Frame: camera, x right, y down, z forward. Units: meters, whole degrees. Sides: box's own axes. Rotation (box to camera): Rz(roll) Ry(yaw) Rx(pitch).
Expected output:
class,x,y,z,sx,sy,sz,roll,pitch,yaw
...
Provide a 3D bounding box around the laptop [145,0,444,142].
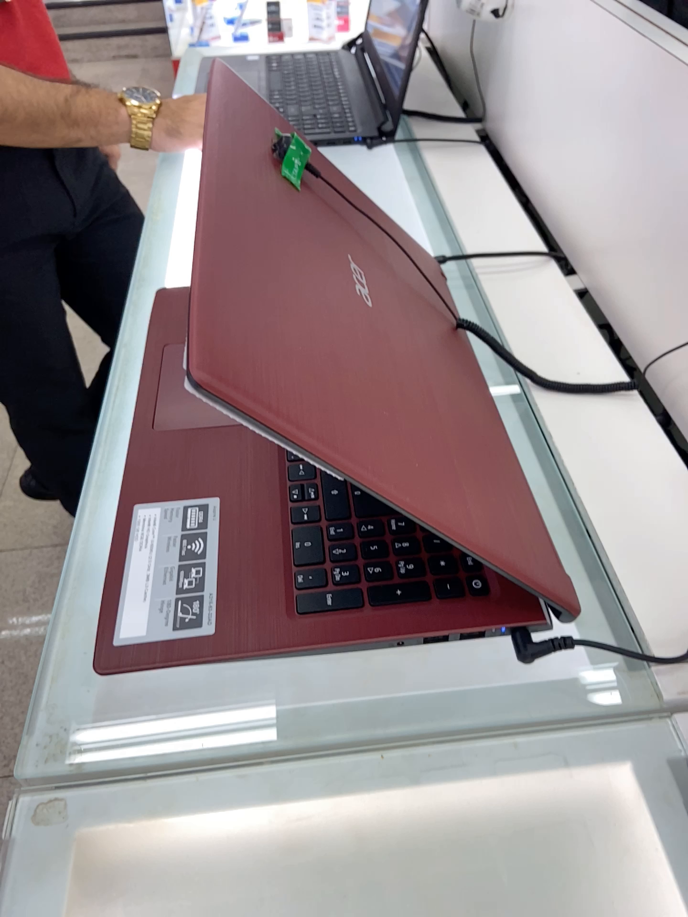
class,x,y,z,sx,sy,sz,roll,pitch,yaw
laptop,-0.062,-0.603,0.914,0.304,0.230,0.330,-5,46,-2

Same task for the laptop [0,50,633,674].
class,x,y,z,sx,sy,sz,roll,pitch,yaw
laptop,-0.032,-0.093,0.438,0.238,0.179,0.369,-6,44,-3
